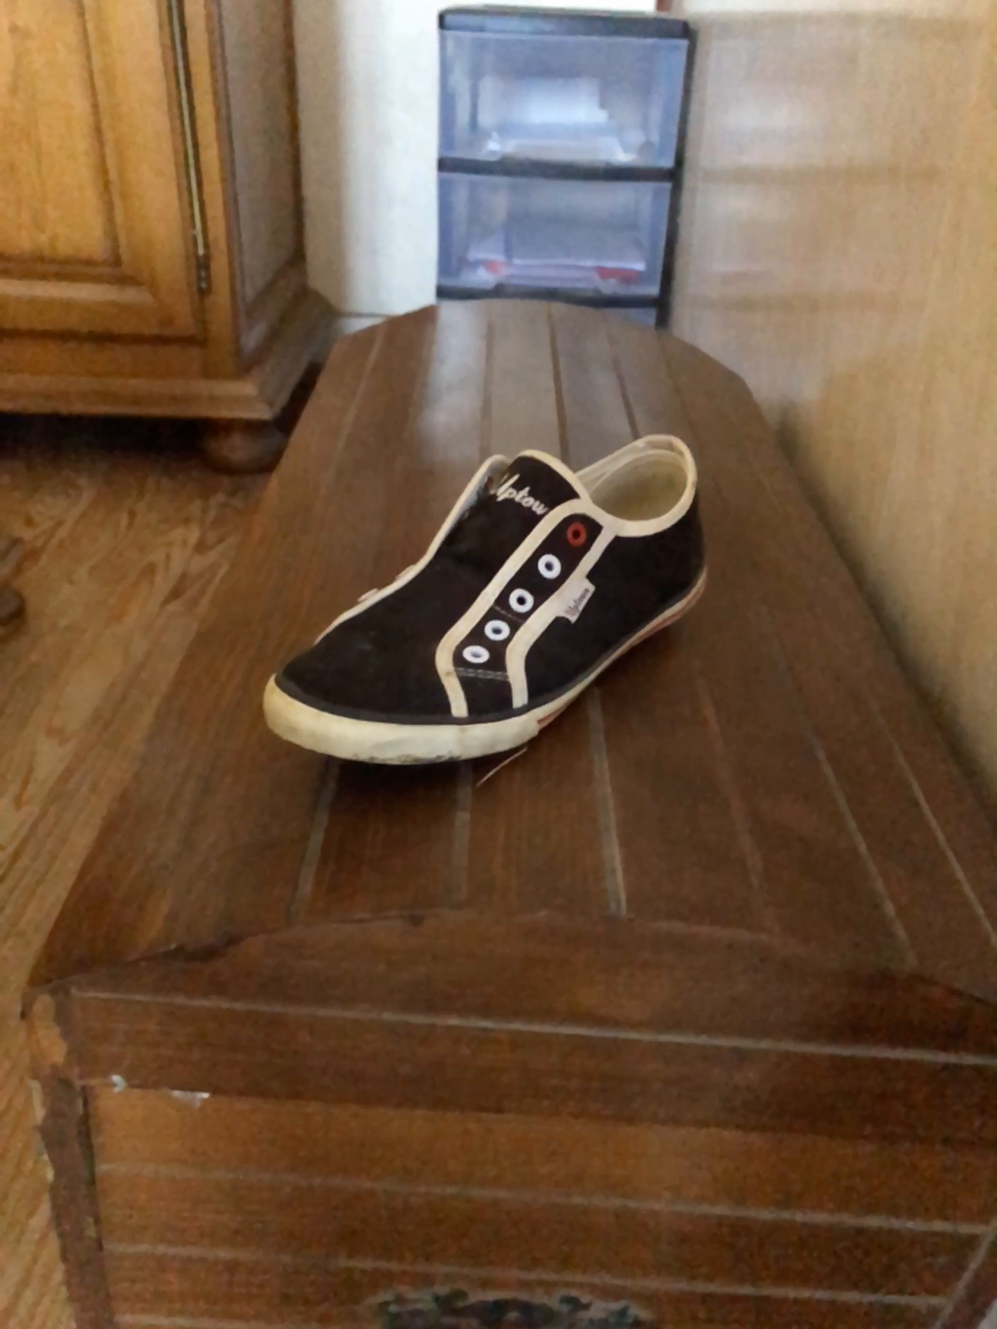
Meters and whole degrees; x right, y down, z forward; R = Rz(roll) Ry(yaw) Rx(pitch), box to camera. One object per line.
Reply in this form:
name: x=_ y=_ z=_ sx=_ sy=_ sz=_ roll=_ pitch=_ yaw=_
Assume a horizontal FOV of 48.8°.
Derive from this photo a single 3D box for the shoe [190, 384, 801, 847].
shoe: x=0.012 y=-0.038 z=0.446 sx=0.100 sy=0.080 sz=0.241 roll=26 pitch=40 yaw=35
